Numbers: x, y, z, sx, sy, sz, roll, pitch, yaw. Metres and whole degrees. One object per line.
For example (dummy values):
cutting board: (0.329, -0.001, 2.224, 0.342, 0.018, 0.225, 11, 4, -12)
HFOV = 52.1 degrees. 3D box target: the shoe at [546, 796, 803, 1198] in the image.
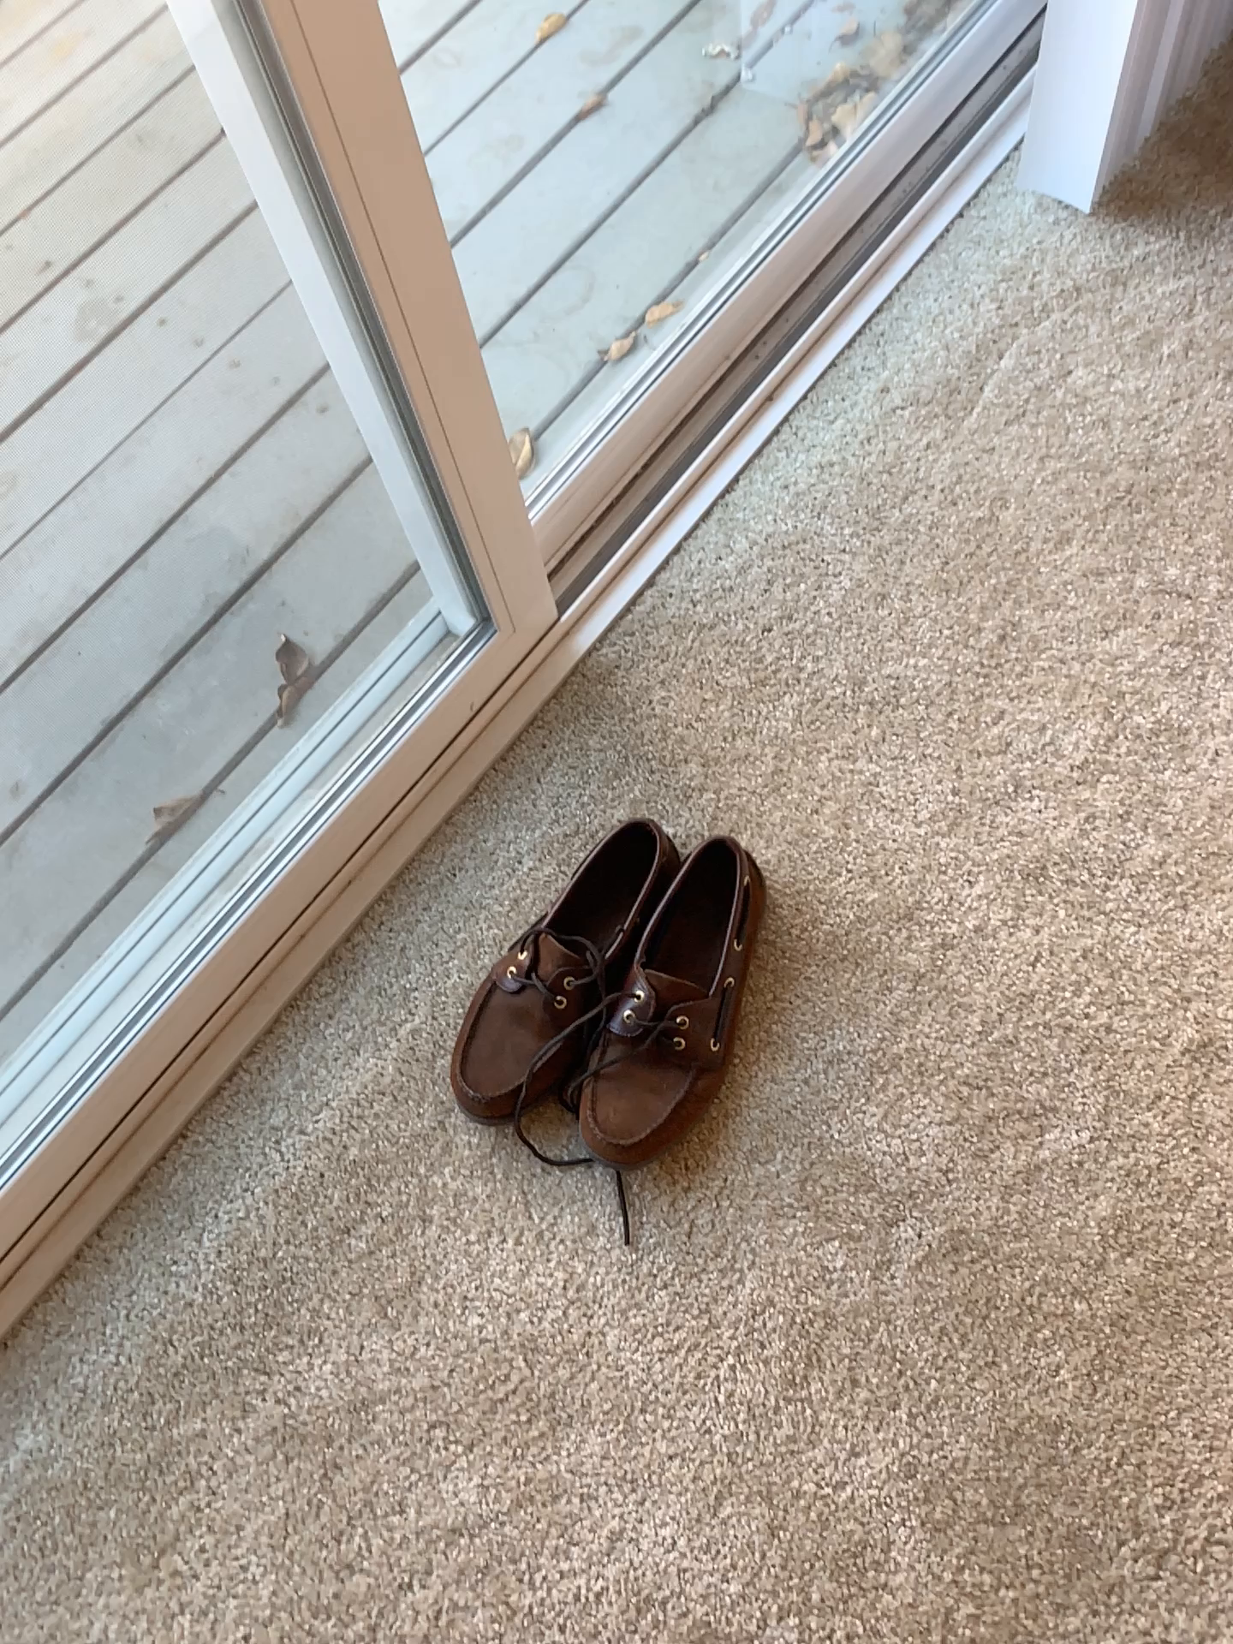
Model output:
shoe: (0.056, 0.139, 1.023, 0.100, 0.100, 0.290, 18, 68, 16)

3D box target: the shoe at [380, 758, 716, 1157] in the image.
shoe: (-0.048, 0.109, 1.047, 0.110, 0.100, 0.300, 29, 72, 20)
